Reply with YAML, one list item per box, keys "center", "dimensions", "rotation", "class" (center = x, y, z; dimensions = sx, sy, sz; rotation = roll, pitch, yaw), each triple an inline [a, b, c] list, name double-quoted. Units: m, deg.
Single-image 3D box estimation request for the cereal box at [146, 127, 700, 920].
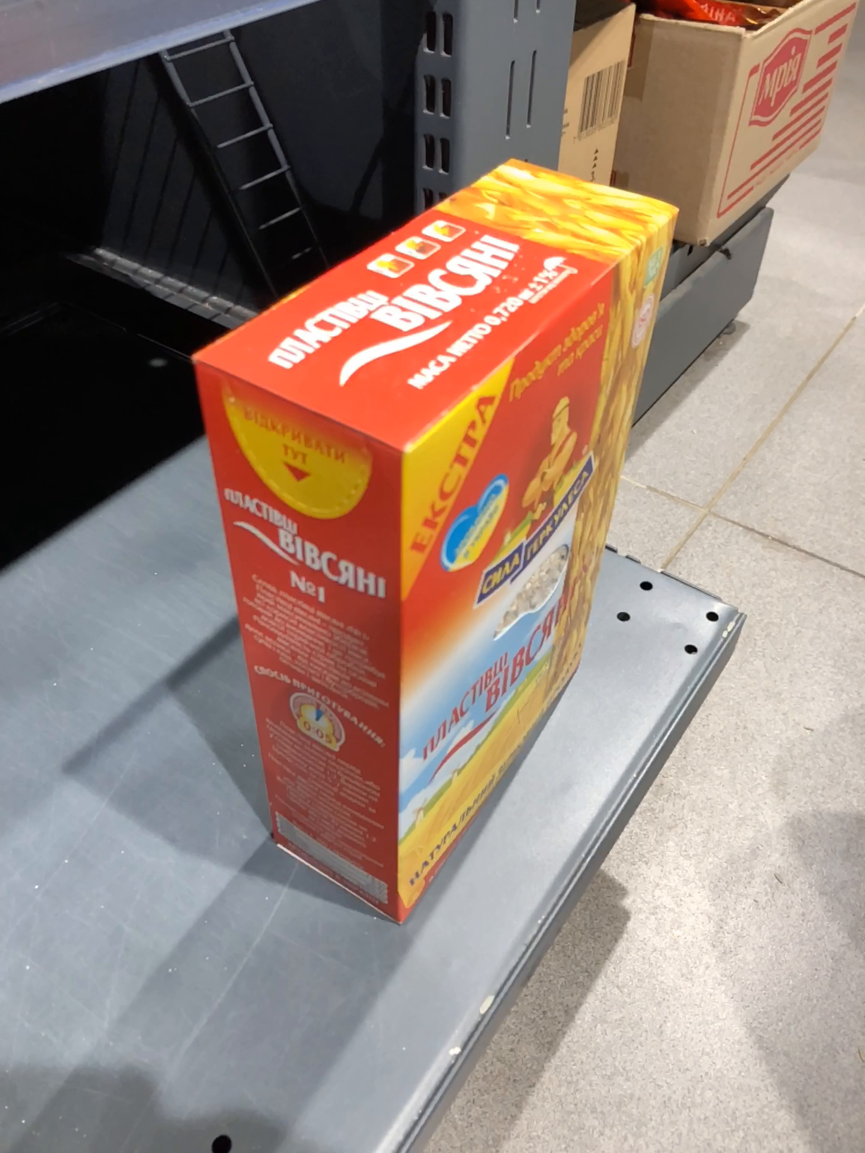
- center: [0.006, -0.014, 0.326]
  dimensions: [0.070, 0.208, 0.161]
  rotation: [25, 49, 23]
  class: "cereal box"
